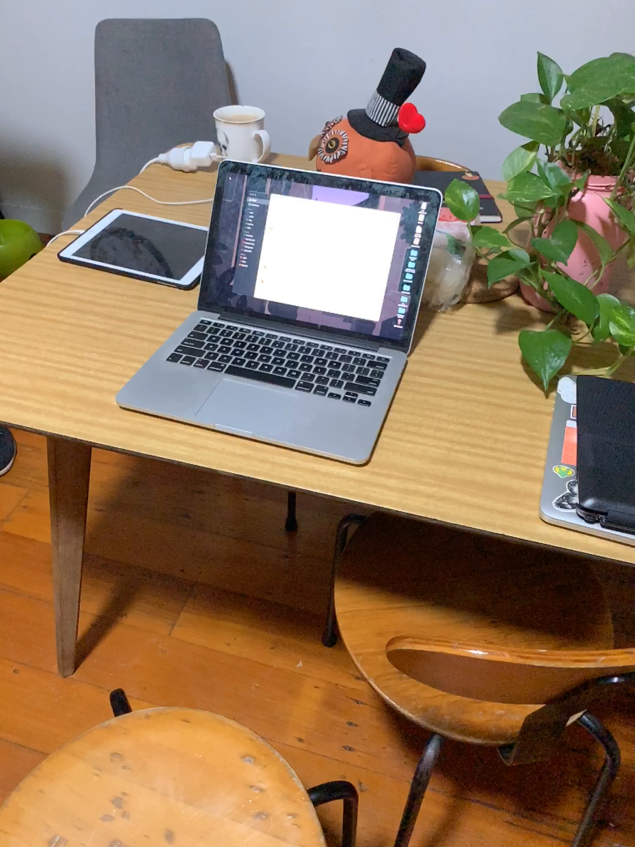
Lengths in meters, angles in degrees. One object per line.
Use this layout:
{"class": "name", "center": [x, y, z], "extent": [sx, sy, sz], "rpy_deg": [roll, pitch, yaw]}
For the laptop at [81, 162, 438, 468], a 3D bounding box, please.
{"class": "laptop", "center": [-0.037, -0.134, 0.677], "extent": [0.263, 0.144, 0.288], "rpy_deg": [13, 42, 14]}
